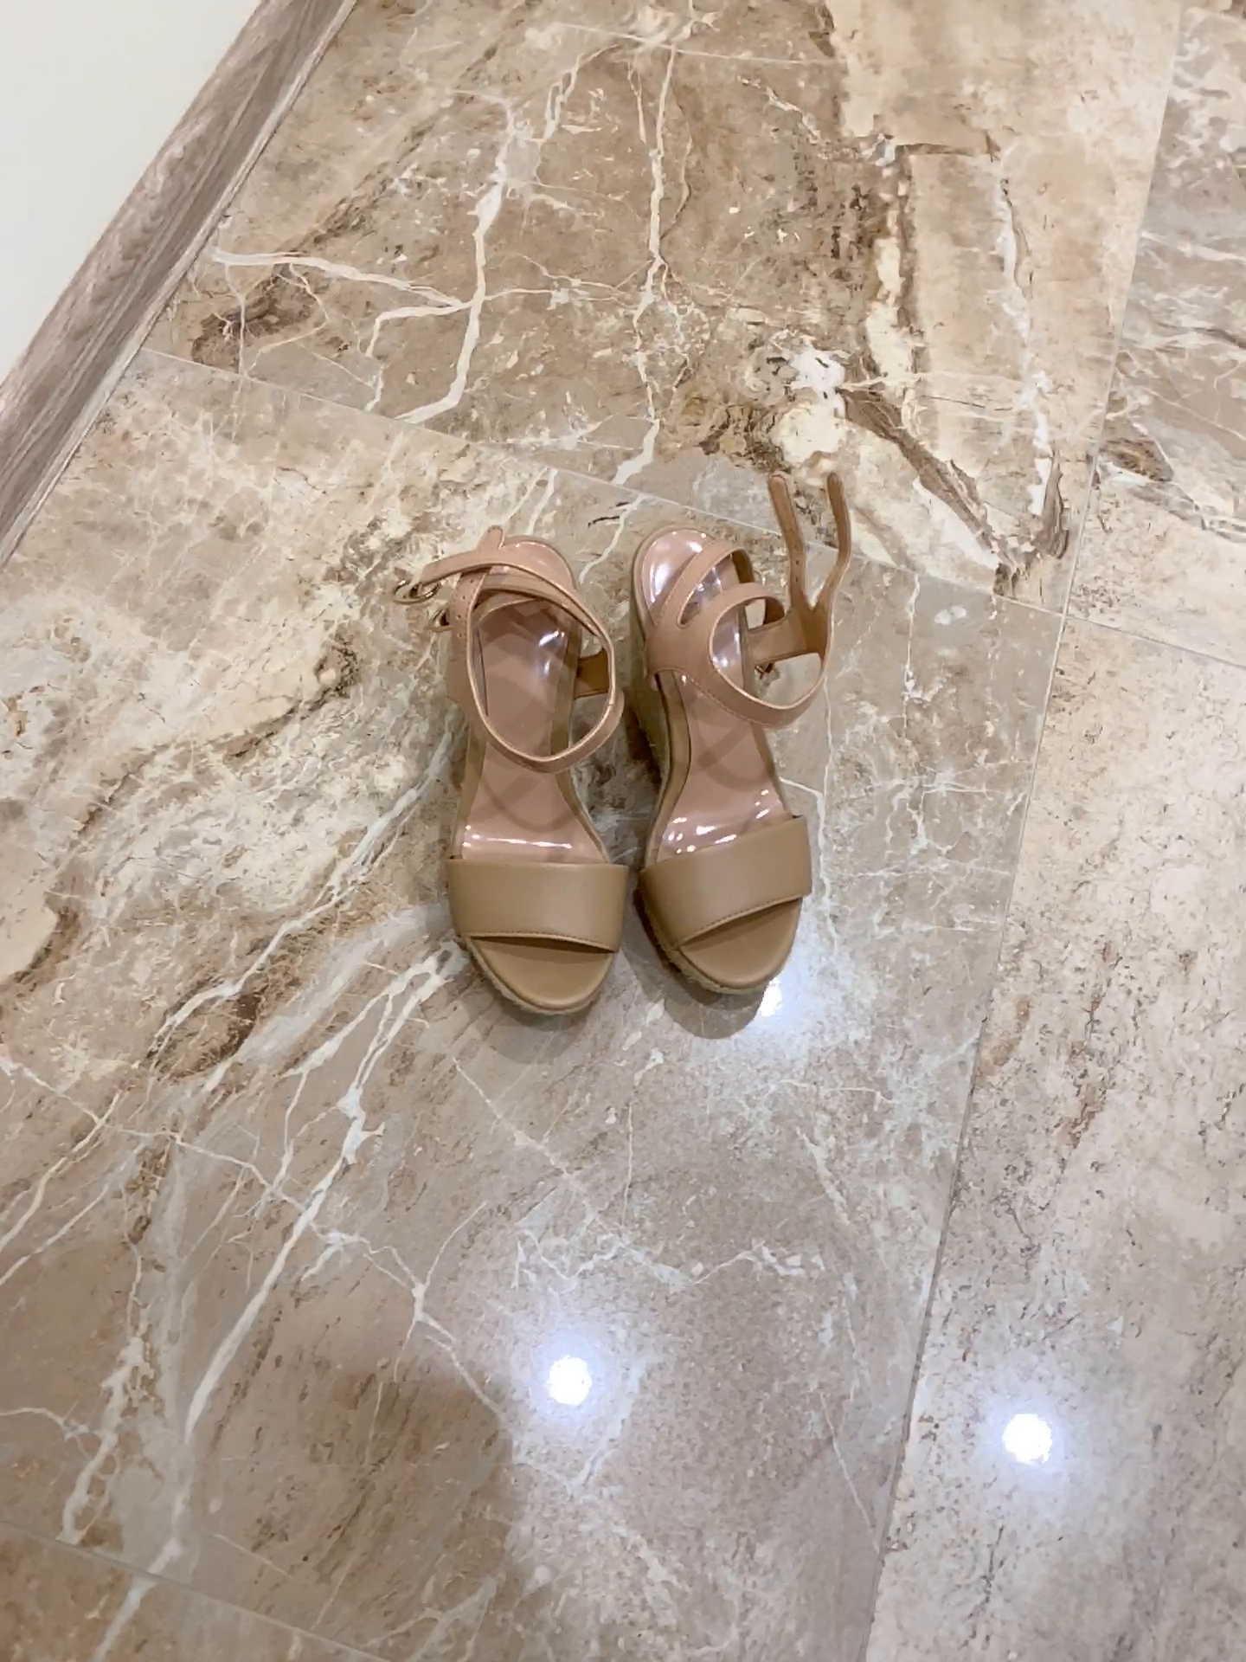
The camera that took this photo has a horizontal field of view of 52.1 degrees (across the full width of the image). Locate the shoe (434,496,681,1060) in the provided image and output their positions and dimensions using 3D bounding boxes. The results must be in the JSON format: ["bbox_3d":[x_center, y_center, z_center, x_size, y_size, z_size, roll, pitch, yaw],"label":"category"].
[{"bbox_3d":[-0.035,-0.020,0.583,0.090,0.150,0.210,-2,66,-5],"label":"shoe"}]

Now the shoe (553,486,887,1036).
[{"bbox_3d":[0.033,-0.030,0.600,0.090,0.130,0.210,-10,67,-9],"label":"shoe"}]
